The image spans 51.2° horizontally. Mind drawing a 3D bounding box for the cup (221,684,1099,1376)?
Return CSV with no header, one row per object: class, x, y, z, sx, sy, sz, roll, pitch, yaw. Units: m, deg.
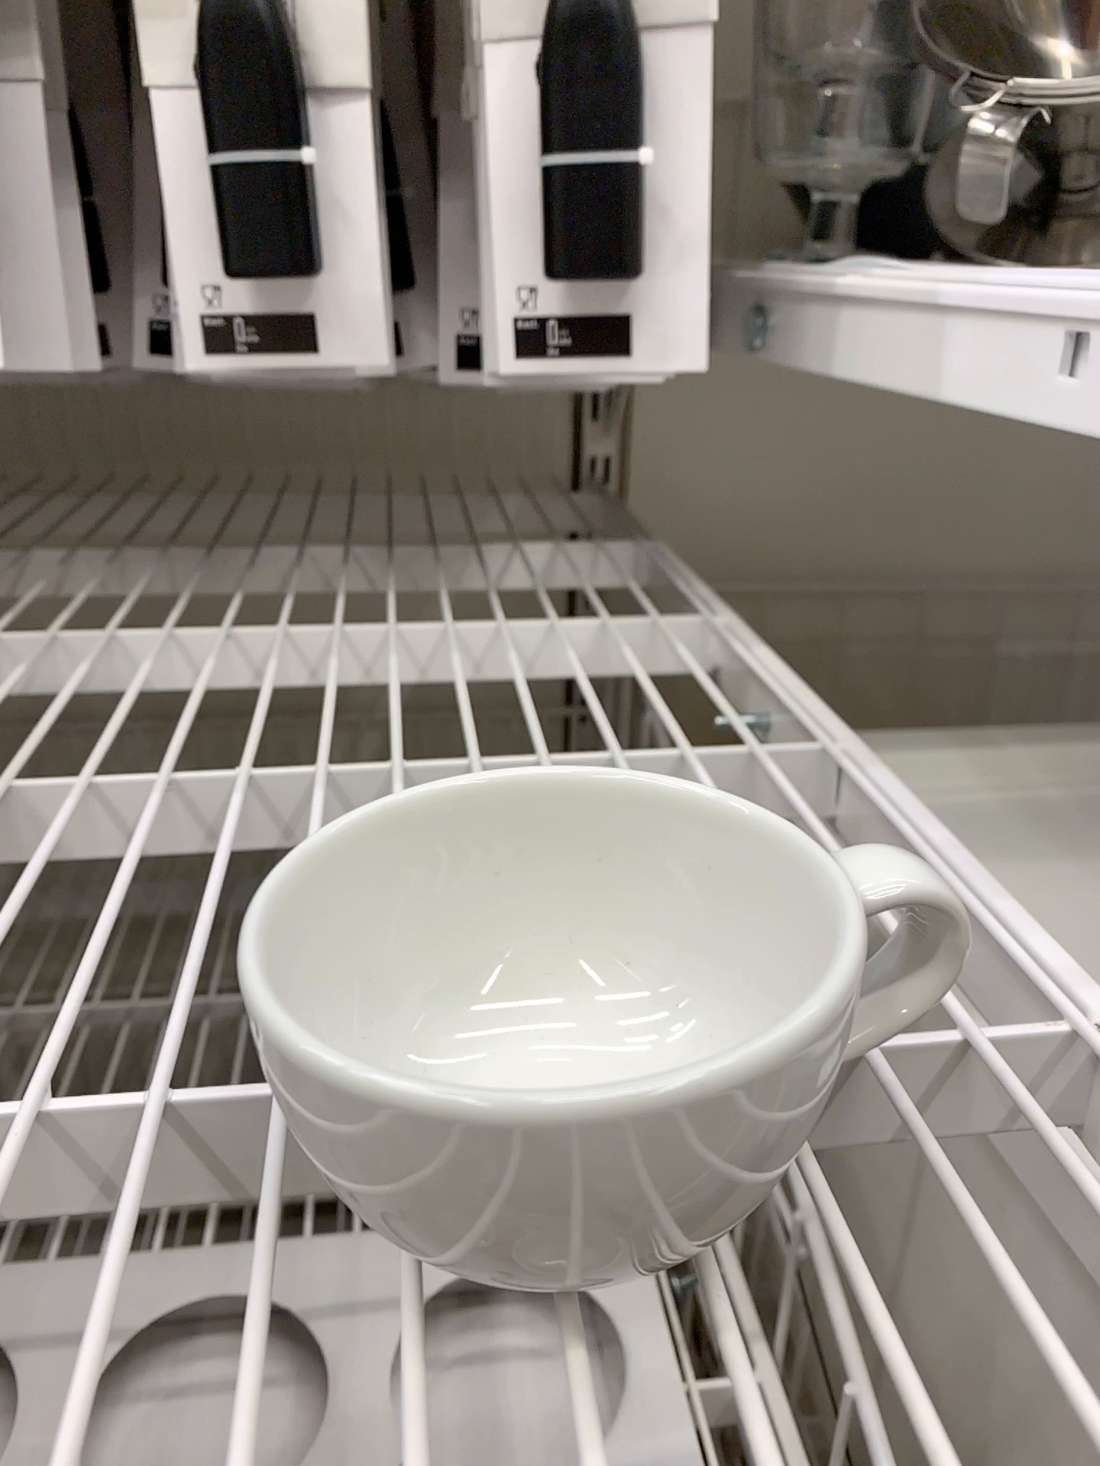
cup,0.013,0.029,0.172,0.116,0.036,0.097,-4,23,-14
